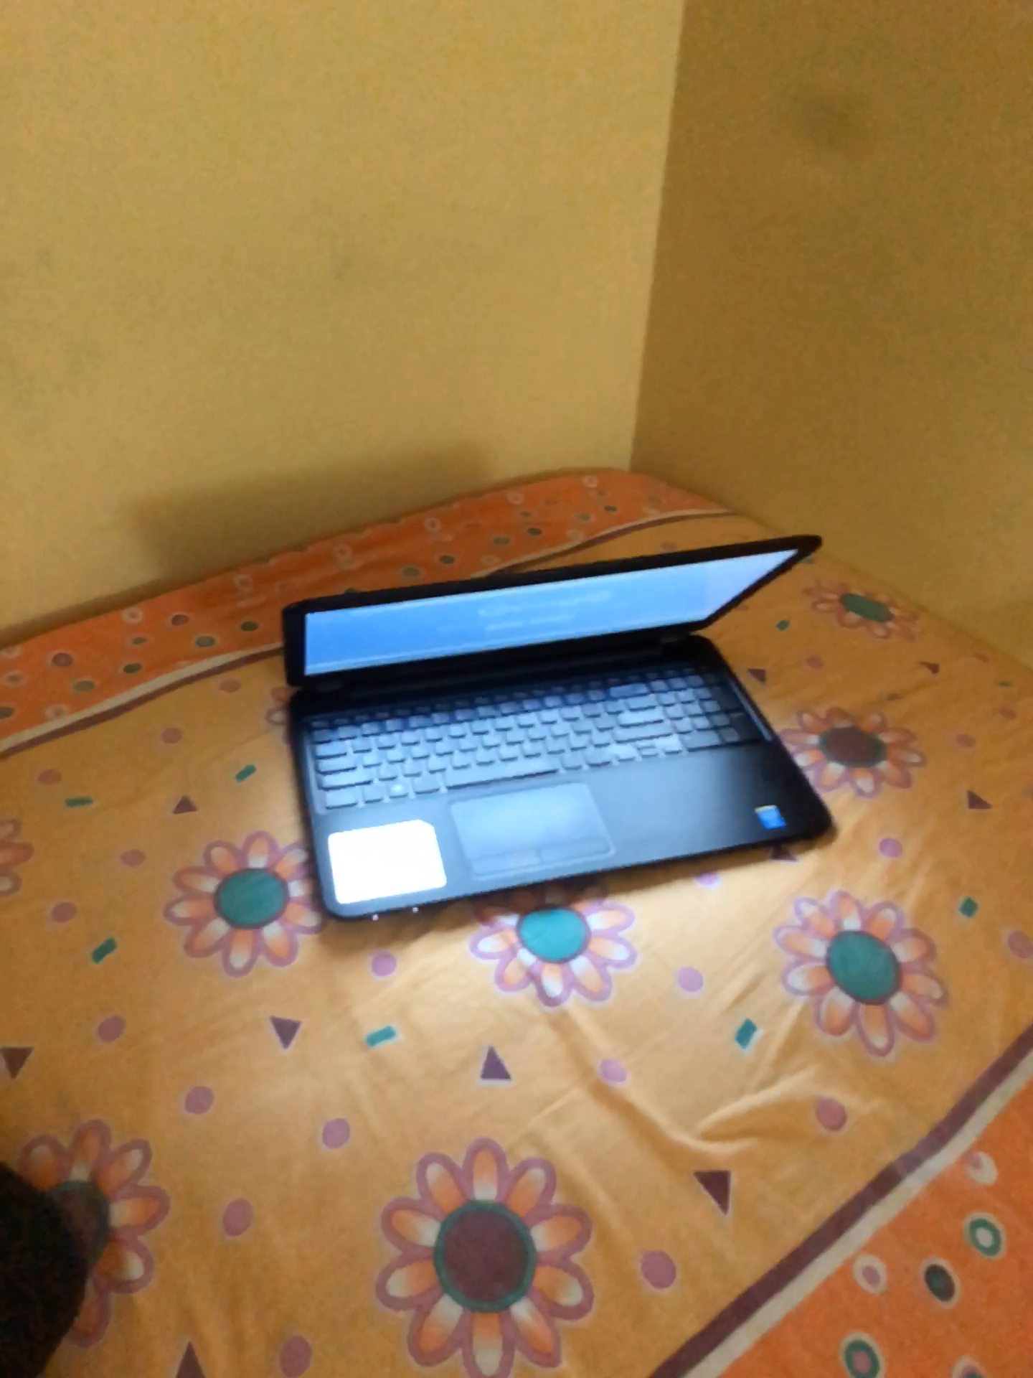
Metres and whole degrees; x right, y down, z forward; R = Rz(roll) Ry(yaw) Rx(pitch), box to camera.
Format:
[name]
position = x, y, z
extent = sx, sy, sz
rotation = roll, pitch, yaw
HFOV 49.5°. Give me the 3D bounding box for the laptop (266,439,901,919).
[laptop]
position = 0.027, -0.021, 0.807
extent = 0.366, 0.190, 0.239
rotation = -9, 40, -12
